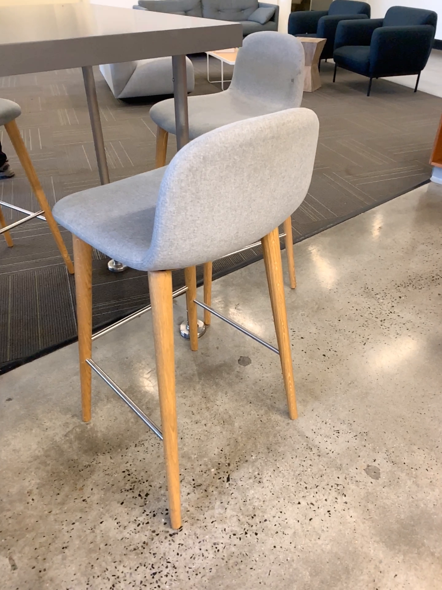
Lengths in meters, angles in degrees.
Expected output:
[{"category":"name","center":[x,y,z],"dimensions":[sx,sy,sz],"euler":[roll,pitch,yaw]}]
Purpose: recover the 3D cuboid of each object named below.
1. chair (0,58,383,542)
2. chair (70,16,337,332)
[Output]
[{"category":"chair","center":[-0.090,-0.019,1.128],"dimensions":[0.551,0.914,0.573],"euler":[-28,44,-34]},{"category":"chair","center":[-0.127,-0.582,1.947],"dimensions":[0.580,0.974,0.965],"euler":[-20,40,-26]}]
